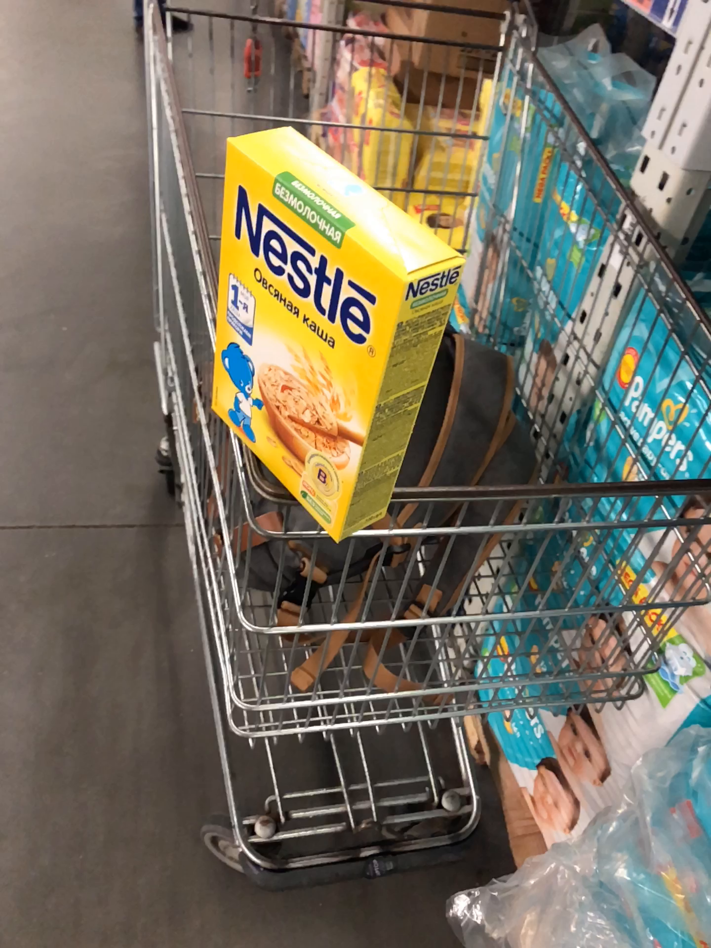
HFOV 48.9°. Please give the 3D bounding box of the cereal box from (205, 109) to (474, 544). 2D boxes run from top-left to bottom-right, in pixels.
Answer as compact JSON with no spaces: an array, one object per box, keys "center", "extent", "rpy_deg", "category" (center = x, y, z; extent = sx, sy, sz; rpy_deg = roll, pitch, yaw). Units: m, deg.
[{"center":[-0.025,-0.079,0.459],"extent":[0.040,0.199,0.150],"rpy_deg":[-27,58,-33],"category":"cereal box"}]
